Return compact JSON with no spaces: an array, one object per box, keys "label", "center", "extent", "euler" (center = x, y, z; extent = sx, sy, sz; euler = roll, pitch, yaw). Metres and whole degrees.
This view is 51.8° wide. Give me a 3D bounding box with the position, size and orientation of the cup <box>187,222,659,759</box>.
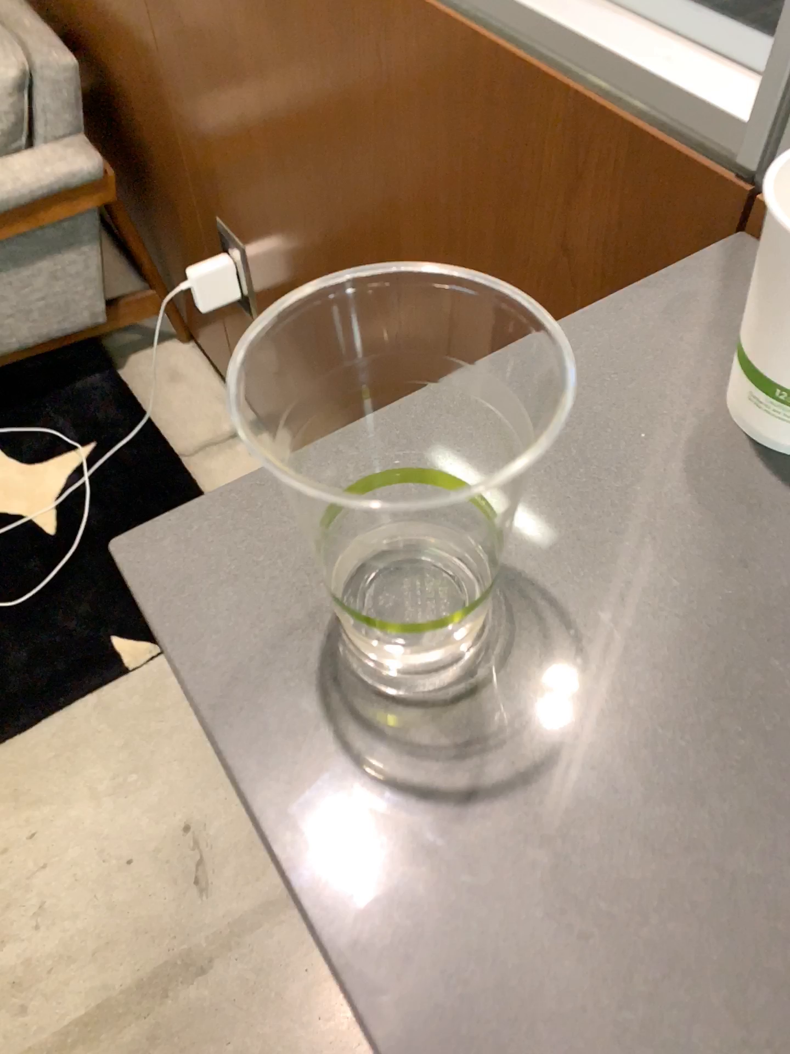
[{"label":"cup","center":[0.005,-0.008,0.260],"extent":[0.090,0.119,0.090],"euler":[-1,53,1]}]
